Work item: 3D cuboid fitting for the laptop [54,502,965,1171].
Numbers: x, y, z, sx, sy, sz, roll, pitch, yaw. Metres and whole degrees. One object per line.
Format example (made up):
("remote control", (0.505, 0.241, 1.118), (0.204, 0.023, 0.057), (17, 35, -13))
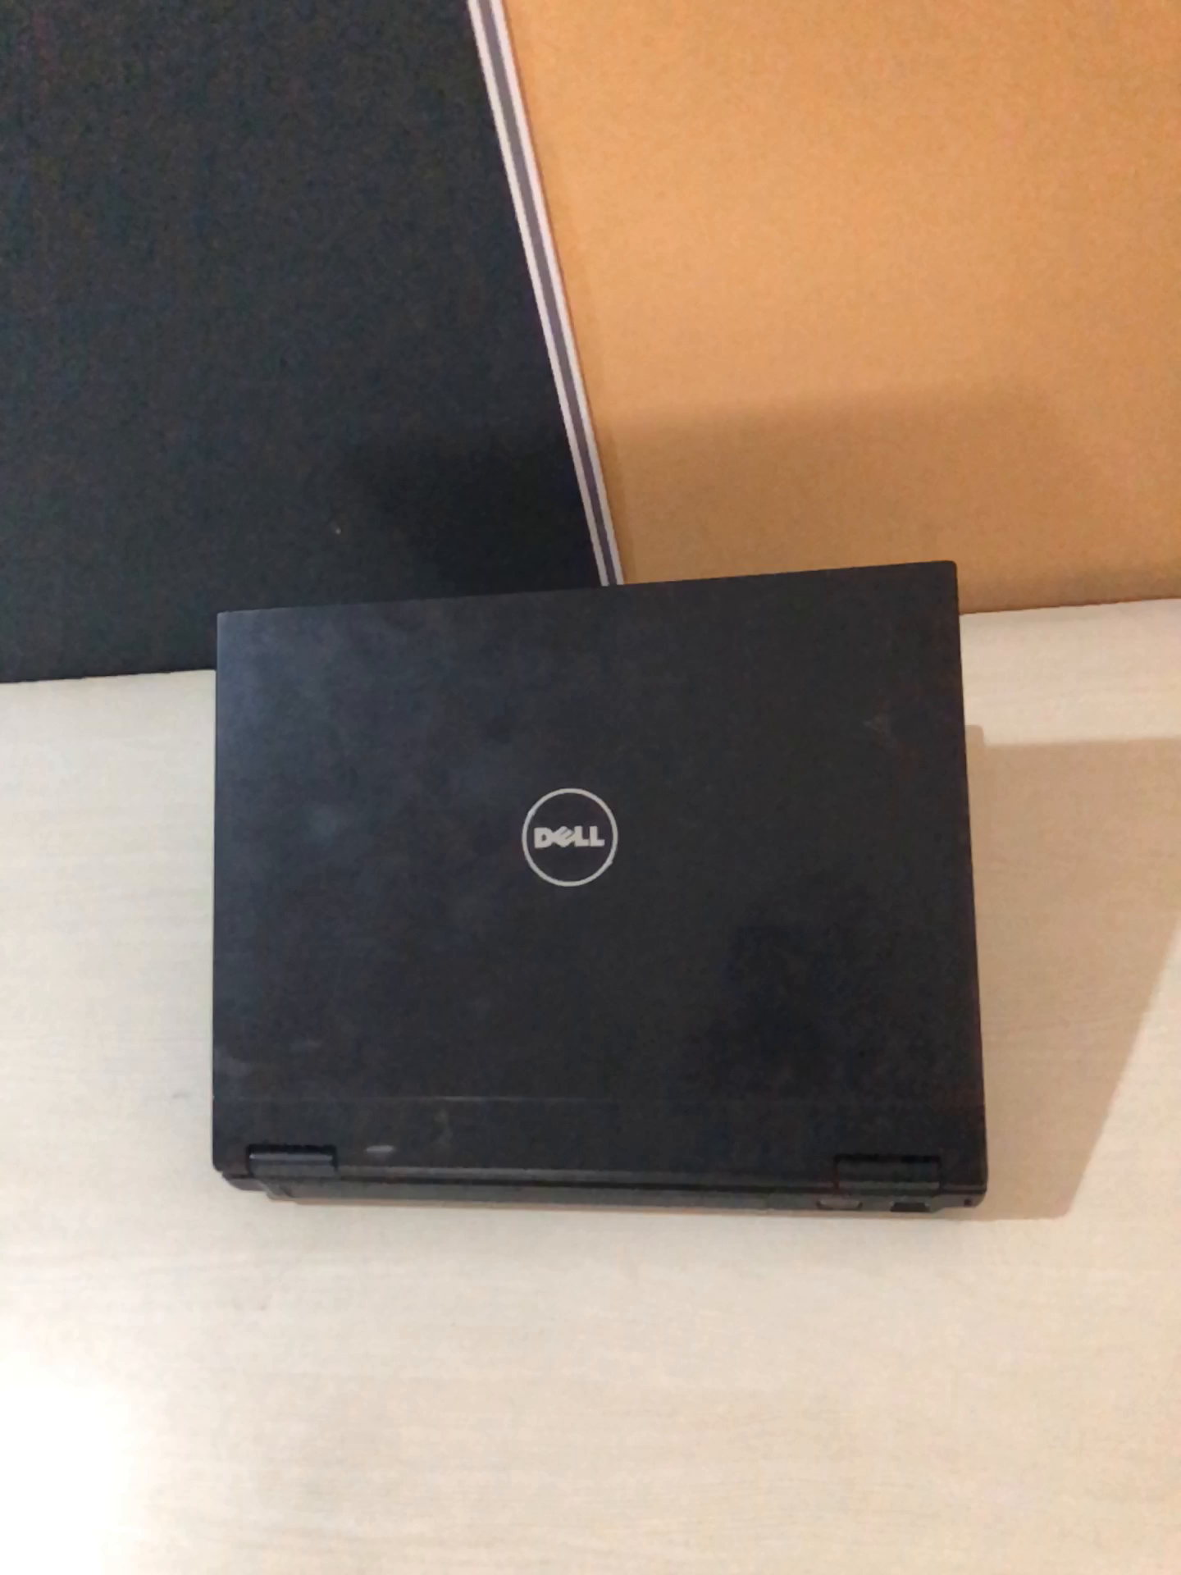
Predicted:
("laptop", (-0.016, 0.022, 0.535), (0.302, 0.126, 0.225), (-3, 53, 11))
